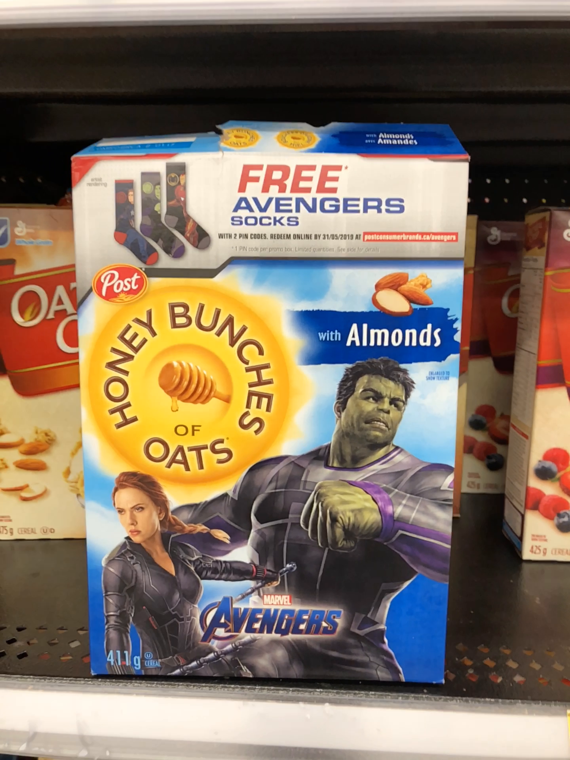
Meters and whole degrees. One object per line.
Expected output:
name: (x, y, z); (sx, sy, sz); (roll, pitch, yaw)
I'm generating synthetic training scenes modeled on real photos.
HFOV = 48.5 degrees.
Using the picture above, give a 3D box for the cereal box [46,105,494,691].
cereal box: (-0.008, 0.013, 0.343); (0.200, 0.289, 0.070); (1, 11, 2)
